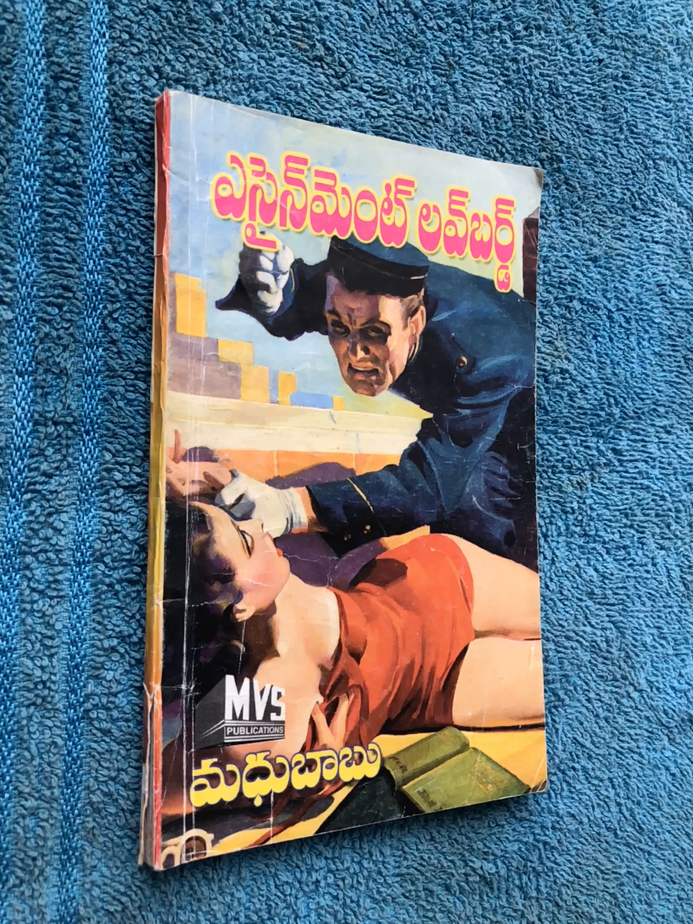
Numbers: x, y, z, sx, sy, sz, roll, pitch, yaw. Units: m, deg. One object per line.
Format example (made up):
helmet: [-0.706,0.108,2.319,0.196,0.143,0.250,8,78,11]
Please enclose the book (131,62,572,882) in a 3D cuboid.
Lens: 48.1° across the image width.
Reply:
book: [0.004,0.001,0.187,0.100,0.030,0.160,2,85,-26]
